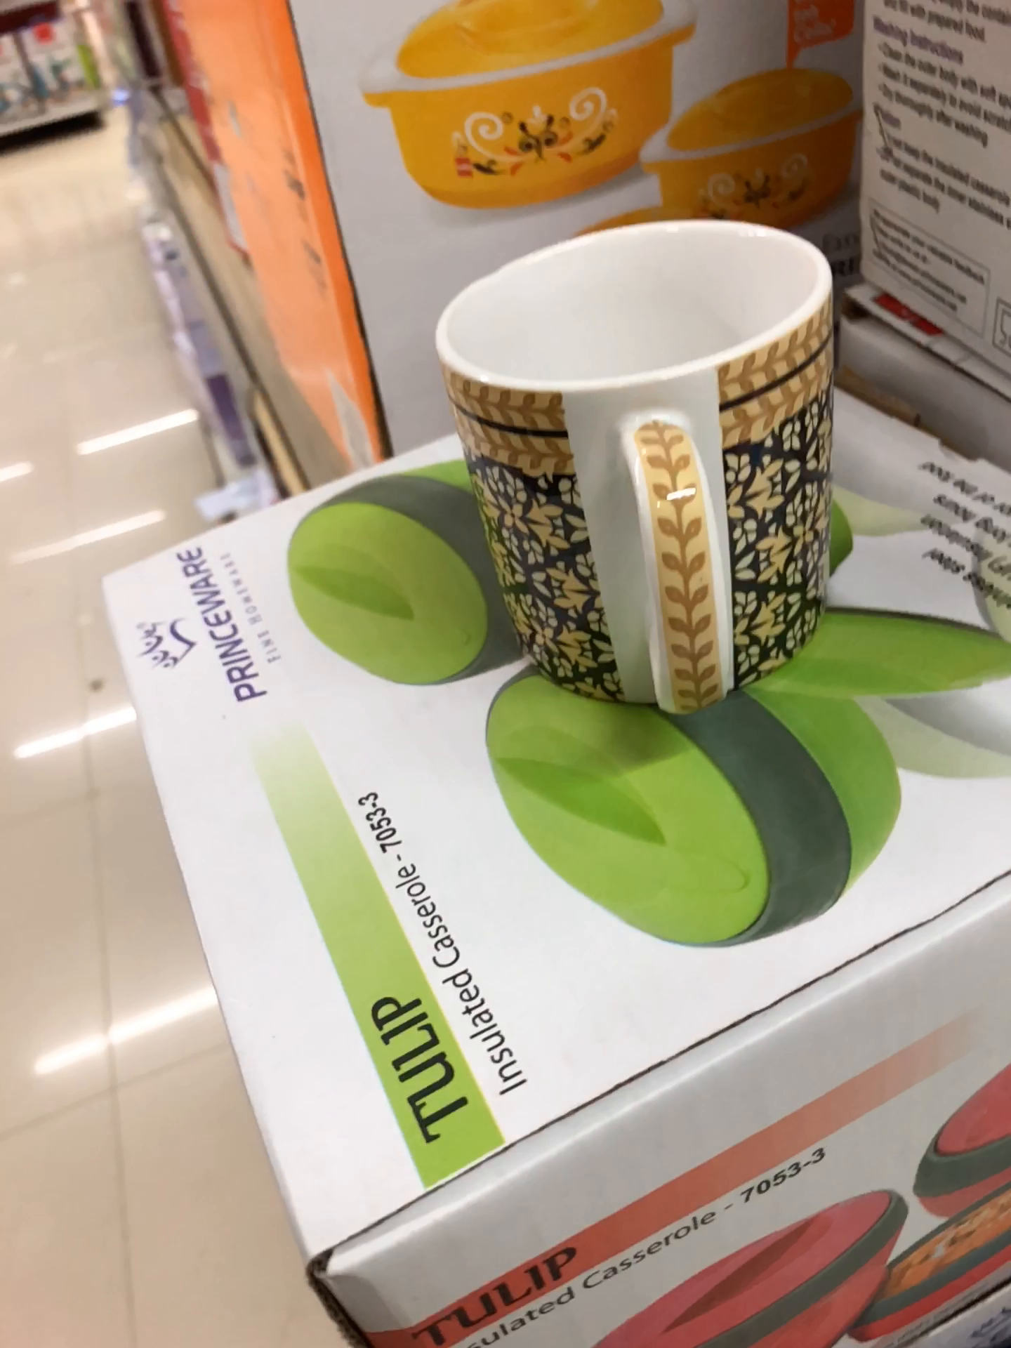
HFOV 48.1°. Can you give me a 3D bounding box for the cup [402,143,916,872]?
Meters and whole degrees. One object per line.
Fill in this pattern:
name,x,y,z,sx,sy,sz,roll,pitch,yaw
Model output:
cup,0.025,-0.038,0.224,0.070,0.089,0.111,-9,38,4
